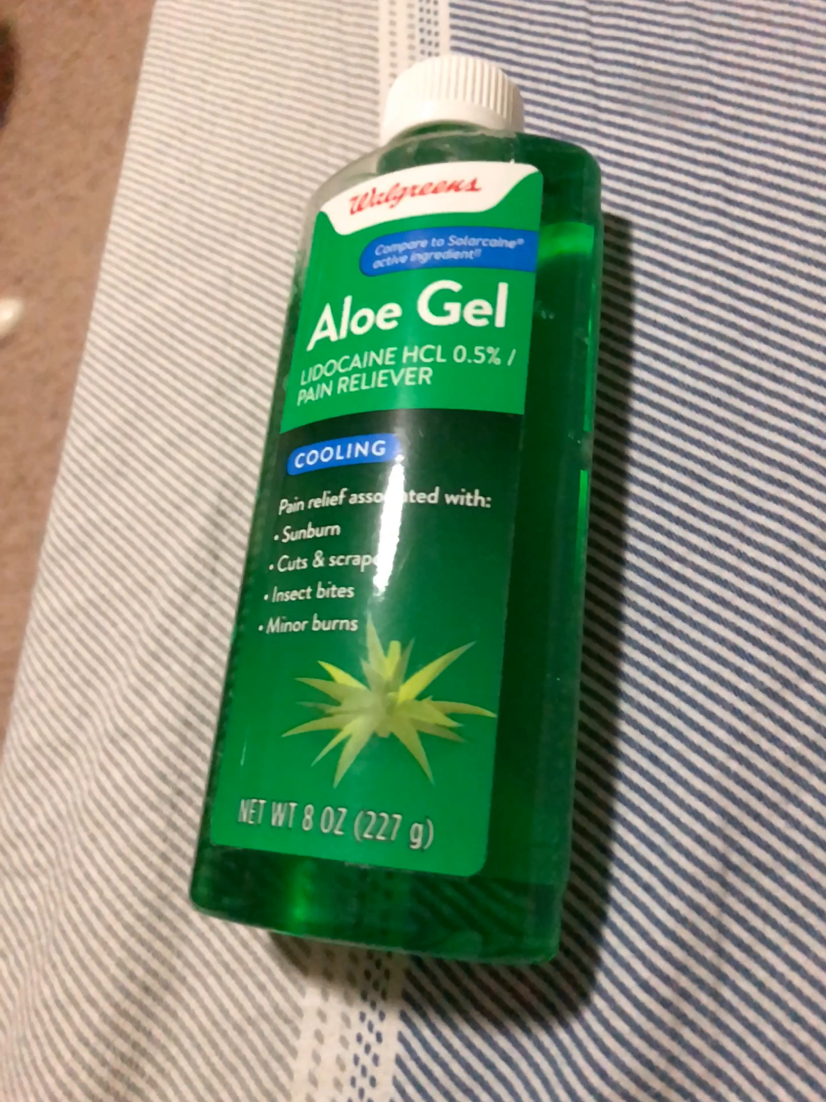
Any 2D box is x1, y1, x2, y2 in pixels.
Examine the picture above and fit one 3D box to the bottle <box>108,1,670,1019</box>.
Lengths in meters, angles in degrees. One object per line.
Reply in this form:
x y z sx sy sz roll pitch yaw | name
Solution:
0.004 -0.018 0.179 0.080 0.030 0.180 1 70 20 | bottle
